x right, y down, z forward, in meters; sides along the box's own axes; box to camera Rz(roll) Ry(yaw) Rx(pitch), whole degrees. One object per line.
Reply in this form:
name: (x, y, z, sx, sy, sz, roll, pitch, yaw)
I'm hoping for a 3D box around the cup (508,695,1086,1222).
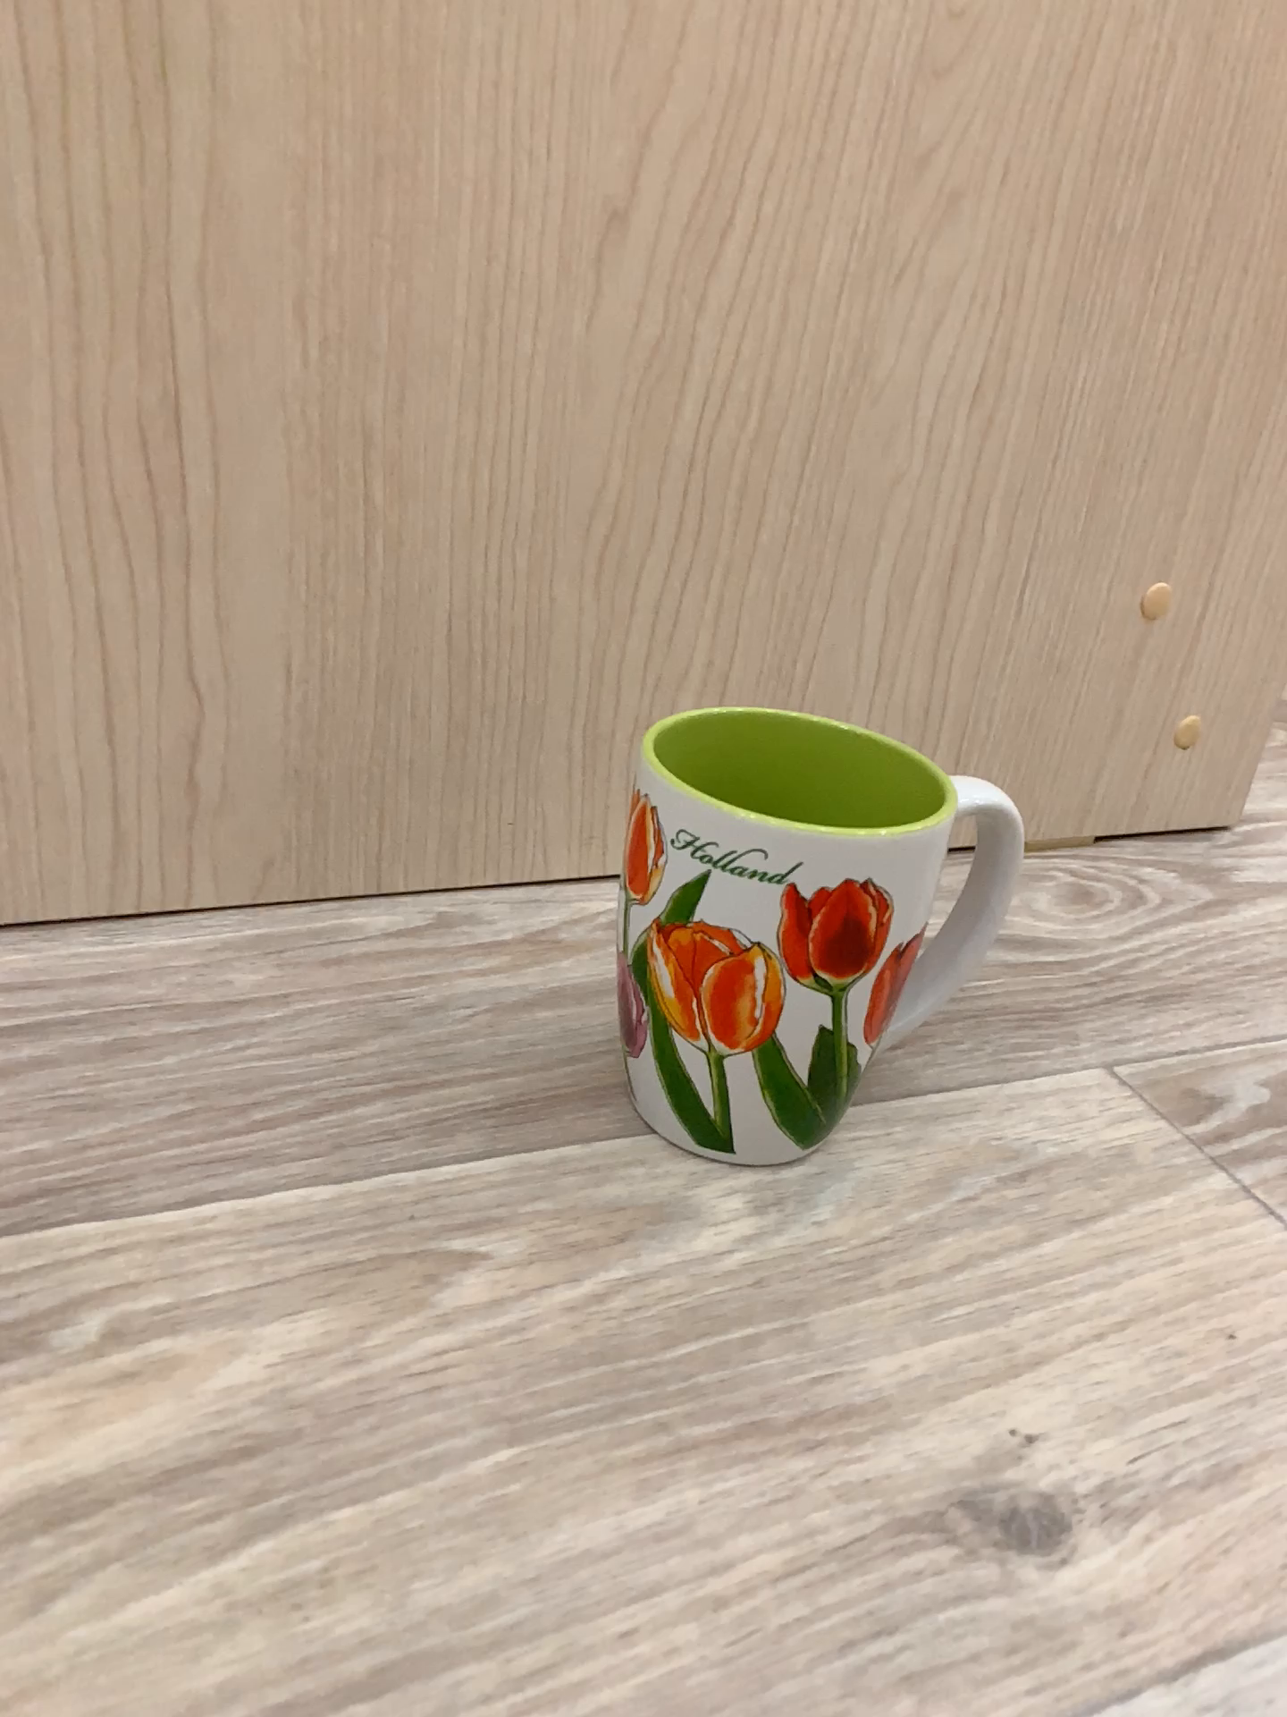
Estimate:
cup: (0.038, 0.020, 0.370, 0.118, 0.101, 0.084, -8, 29, -30)
